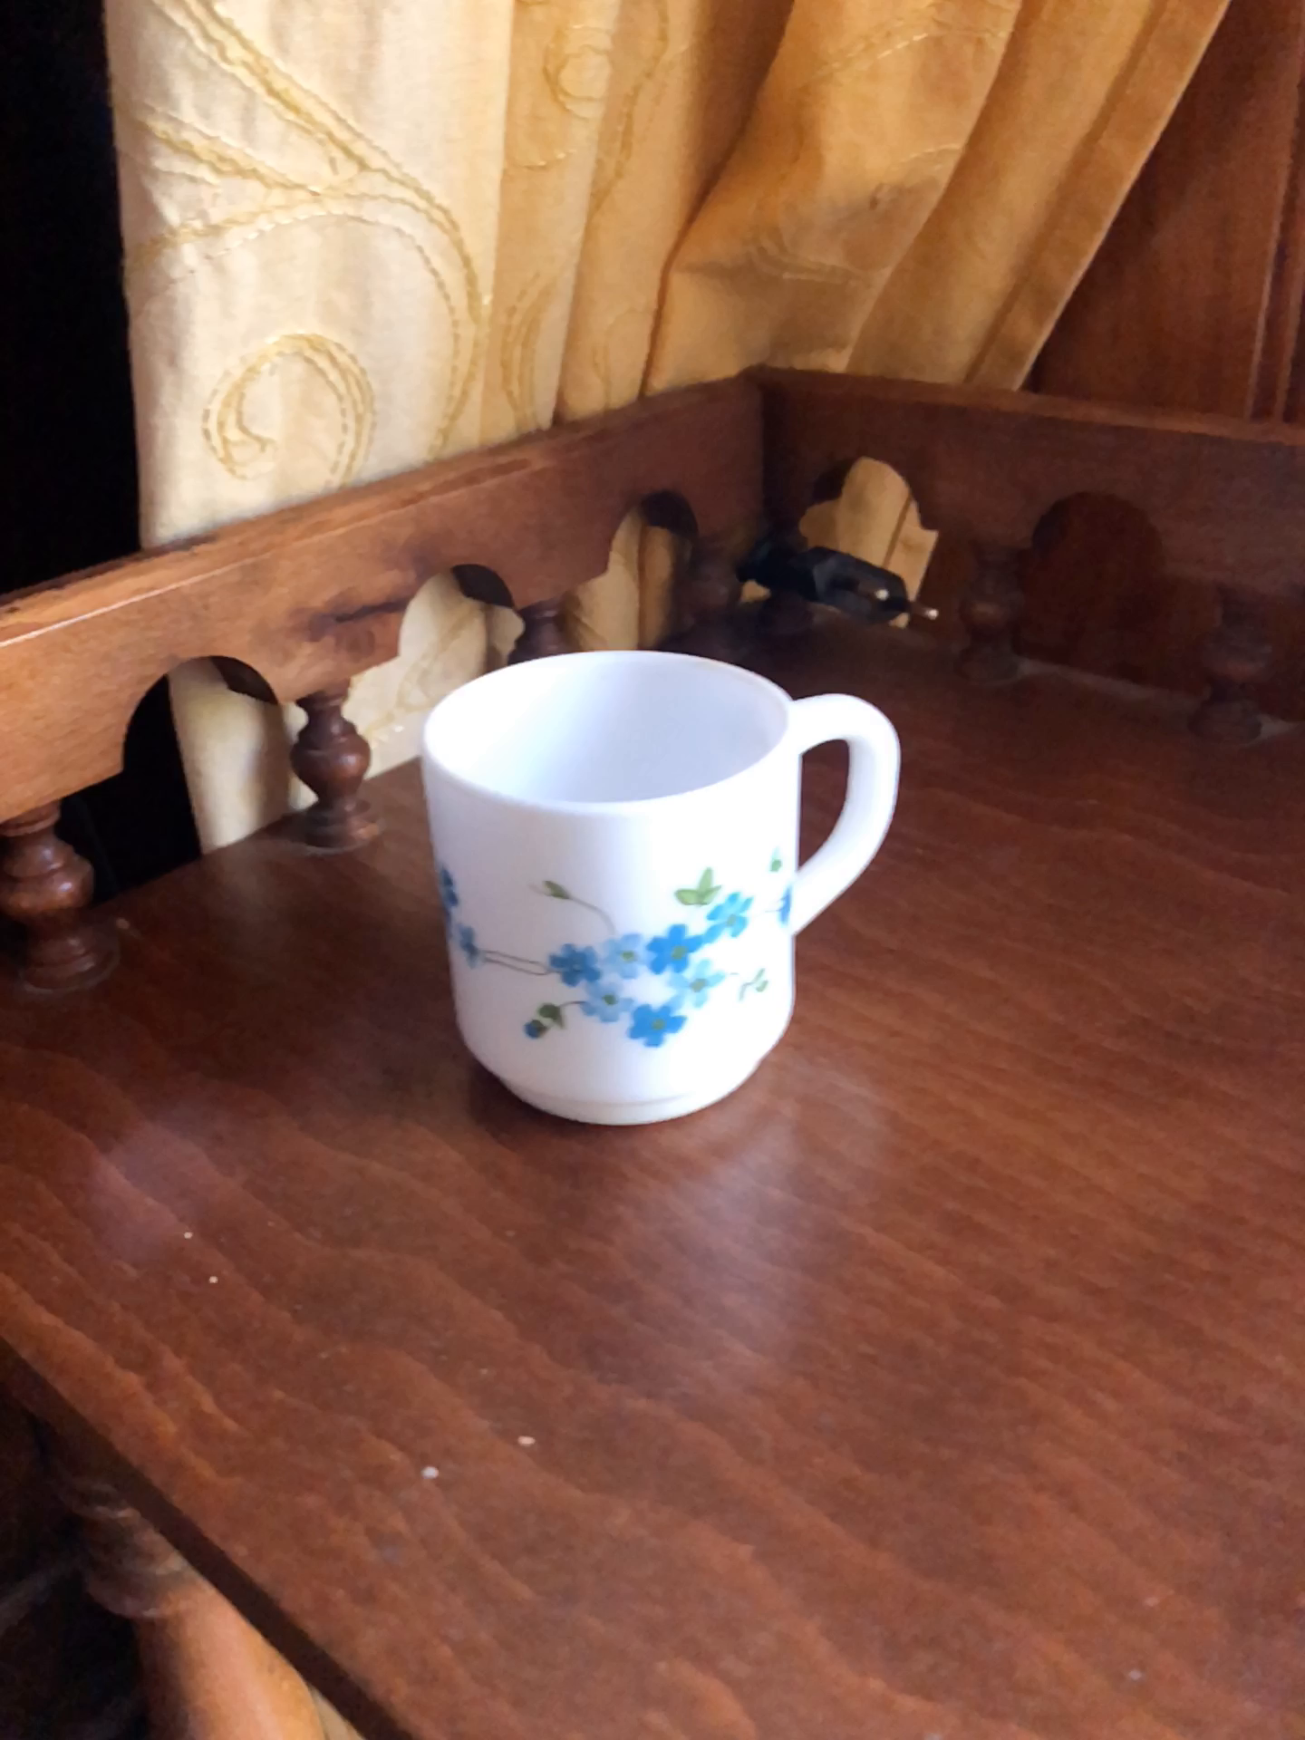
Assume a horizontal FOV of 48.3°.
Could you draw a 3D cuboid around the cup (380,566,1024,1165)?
[{"bbox_3d":[0.006,-0.005,0.232,0.080,0.060,0.060,-12,31,-15],"label":"cup"}]
